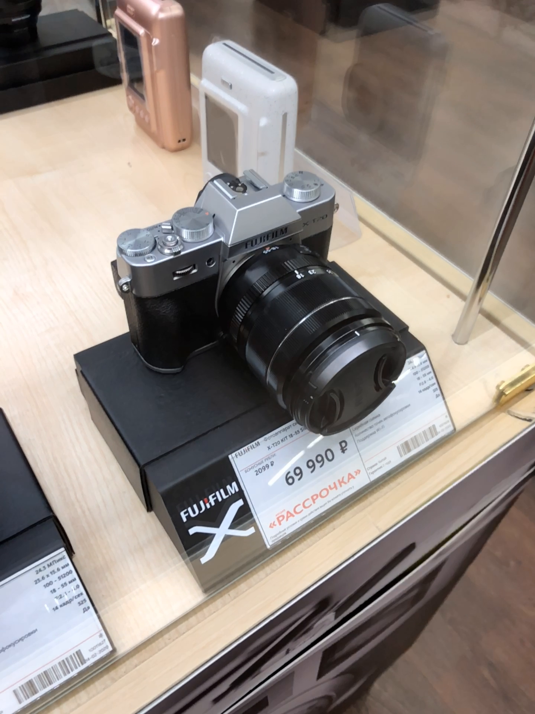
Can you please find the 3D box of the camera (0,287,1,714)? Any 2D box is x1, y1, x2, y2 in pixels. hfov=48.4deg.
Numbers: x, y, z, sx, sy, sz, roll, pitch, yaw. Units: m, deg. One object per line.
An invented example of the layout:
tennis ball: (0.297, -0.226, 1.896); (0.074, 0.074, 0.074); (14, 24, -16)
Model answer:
camera: (-0.186, 0.064, 0.209); (0.124, 0.080, 0.130); (-24, 53, -23)

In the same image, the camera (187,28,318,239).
camera: (-0.014, -0.161, 0.434); (0.039, 0.110, 0.094); (-28, 55, -26)

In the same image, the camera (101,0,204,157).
camera: (-0.099, -0.259, 0.526); (0.043, 0.118, 0.101); (-22, 53, -21)

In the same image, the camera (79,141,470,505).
camera: (-0.003, -0.026, 0.294); (0.124, 0.080, 0.130); (-24, 53, -23)
